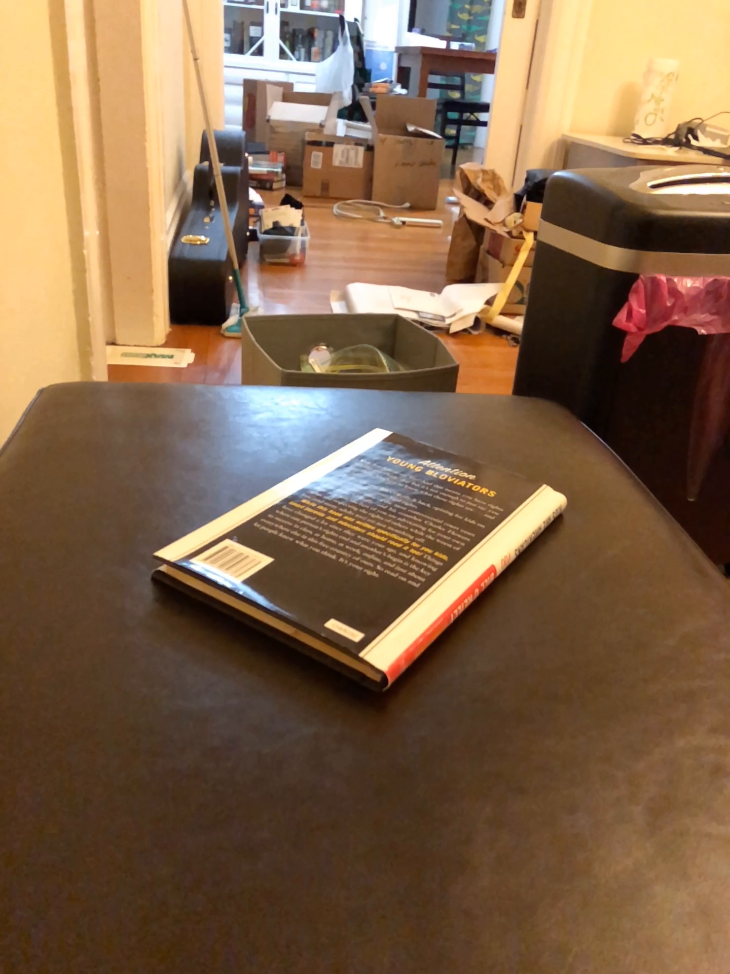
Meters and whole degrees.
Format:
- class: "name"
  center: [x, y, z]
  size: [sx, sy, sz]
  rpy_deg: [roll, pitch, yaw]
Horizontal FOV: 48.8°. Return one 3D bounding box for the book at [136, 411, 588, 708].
- class: "book"
  center: [0.012, 0.020, 0.464]
  size: [0.160, 0.020, 0.231]
  rpy_deg: [20, 31, 26]
